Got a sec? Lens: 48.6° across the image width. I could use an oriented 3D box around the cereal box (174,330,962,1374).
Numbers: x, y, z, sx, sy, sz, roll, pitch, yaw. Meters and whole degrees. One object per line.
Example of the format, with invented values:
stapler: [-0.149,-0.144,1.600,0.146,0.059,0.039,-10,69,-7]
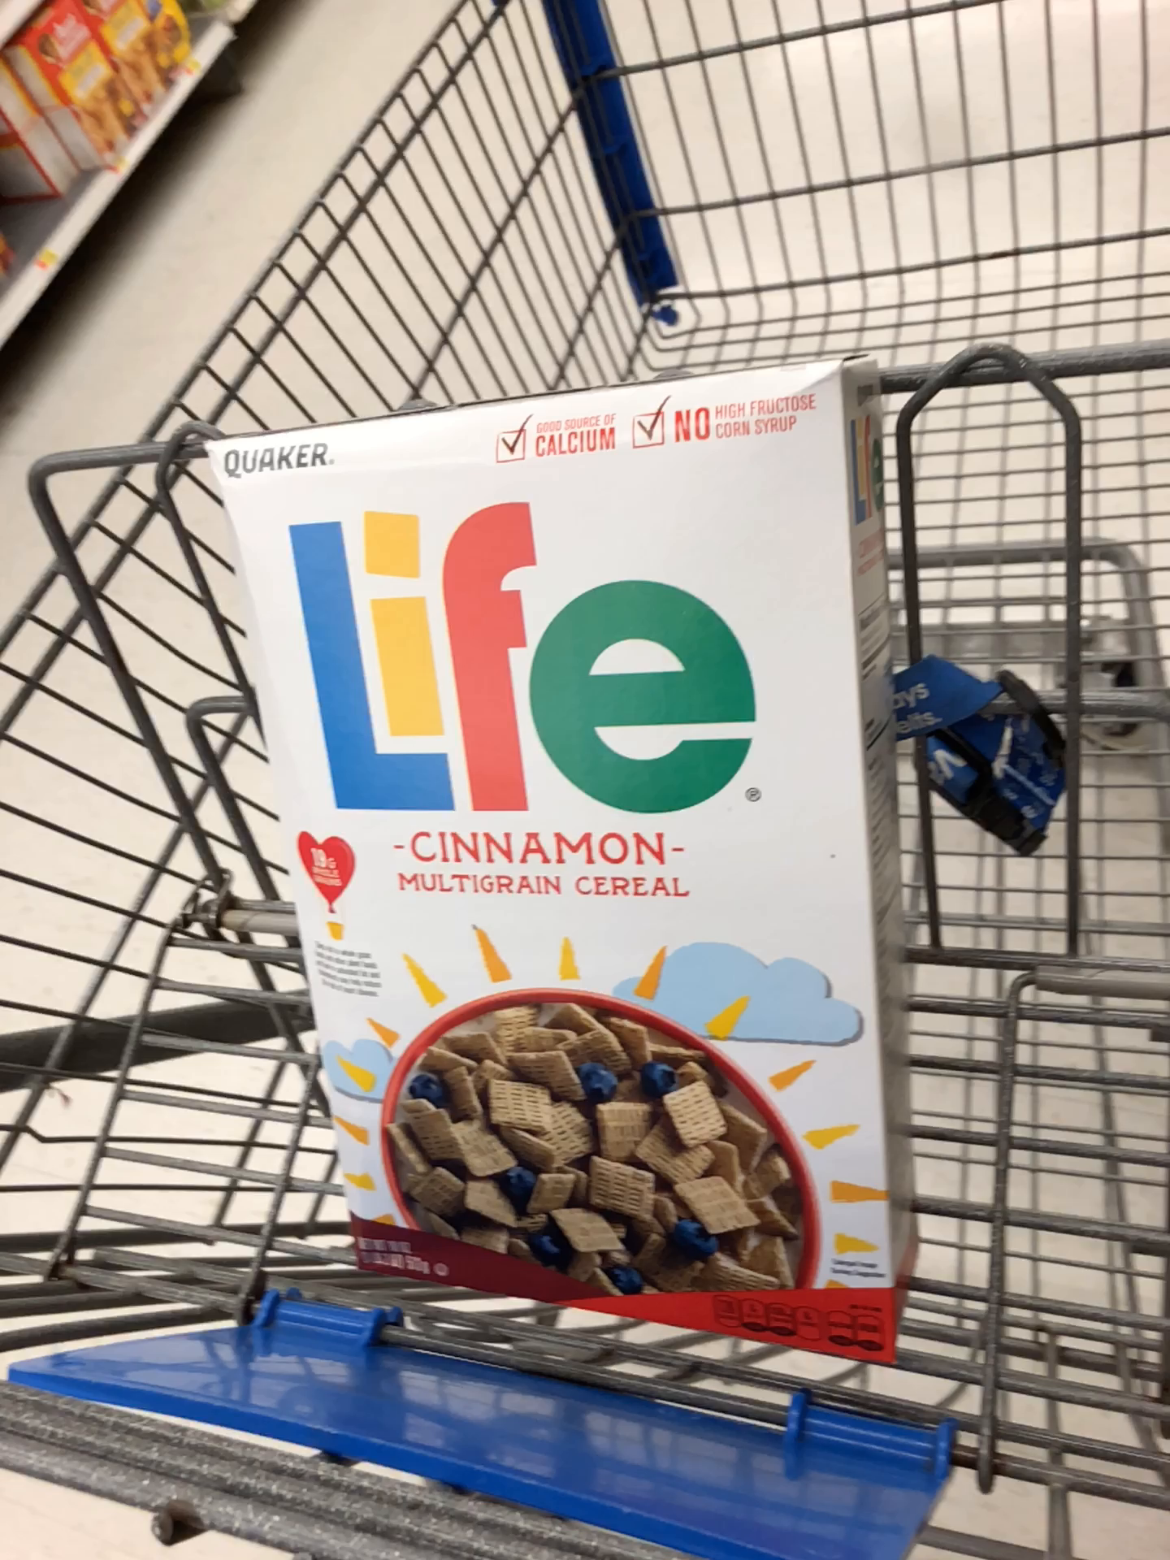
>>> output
cereal box: [0.002,0.023,0.400,0.200,0.280,0.070,0,16,24]
